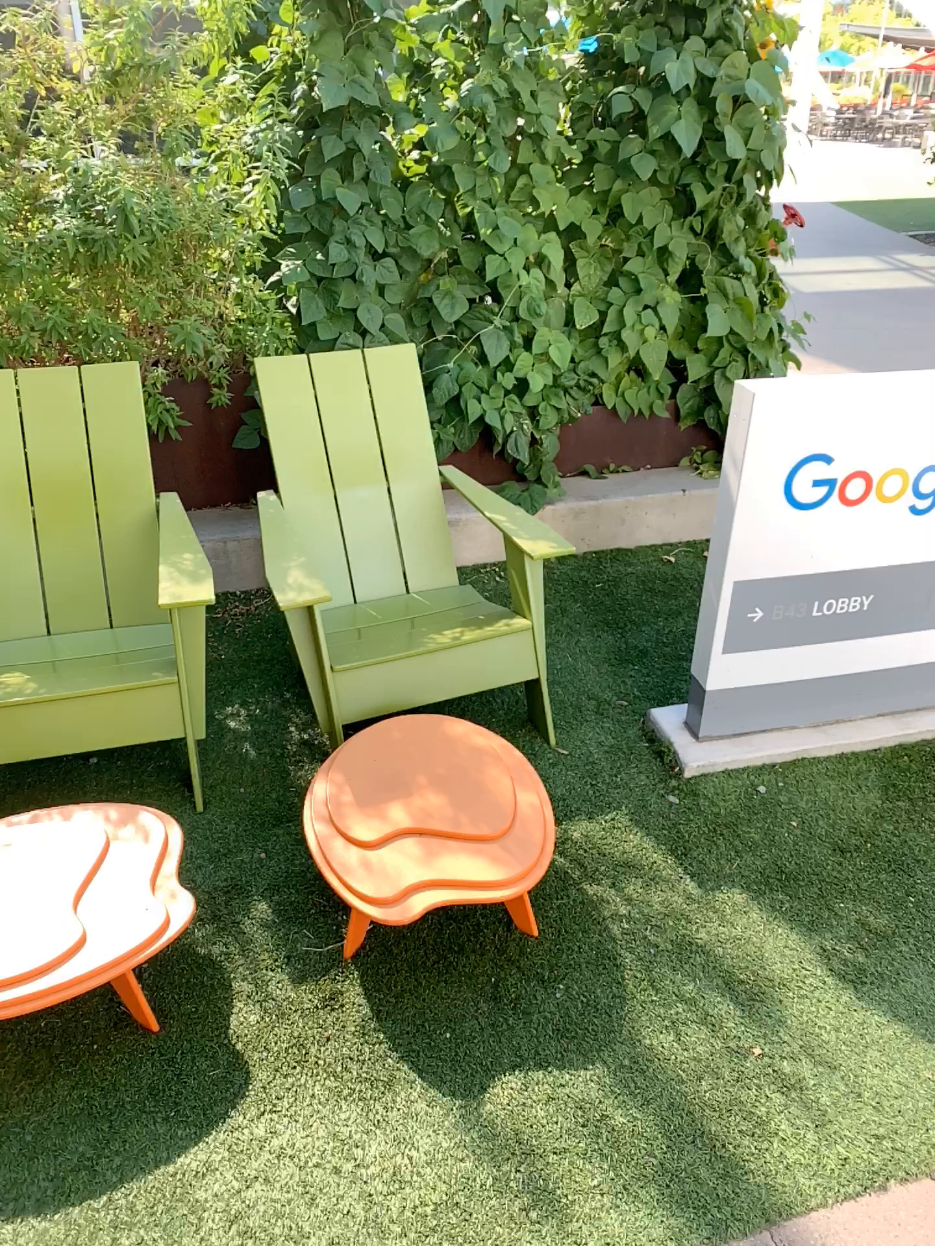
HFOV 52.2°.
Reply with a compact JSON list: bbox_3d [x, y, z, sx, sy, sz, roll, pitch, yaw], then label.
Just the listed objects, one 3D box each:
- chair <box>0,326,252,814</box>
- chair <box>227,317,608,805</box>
[{"bbox_3d":[-1.021,-0.206,2.474,0.770,1.006,0.823,-7,15,-13],"label":"chair"},{"bbox_3d":[-0.166,-0.224,2.547,0.730,1.016,0.823,-10,16,-14],"label":"chair"}]
